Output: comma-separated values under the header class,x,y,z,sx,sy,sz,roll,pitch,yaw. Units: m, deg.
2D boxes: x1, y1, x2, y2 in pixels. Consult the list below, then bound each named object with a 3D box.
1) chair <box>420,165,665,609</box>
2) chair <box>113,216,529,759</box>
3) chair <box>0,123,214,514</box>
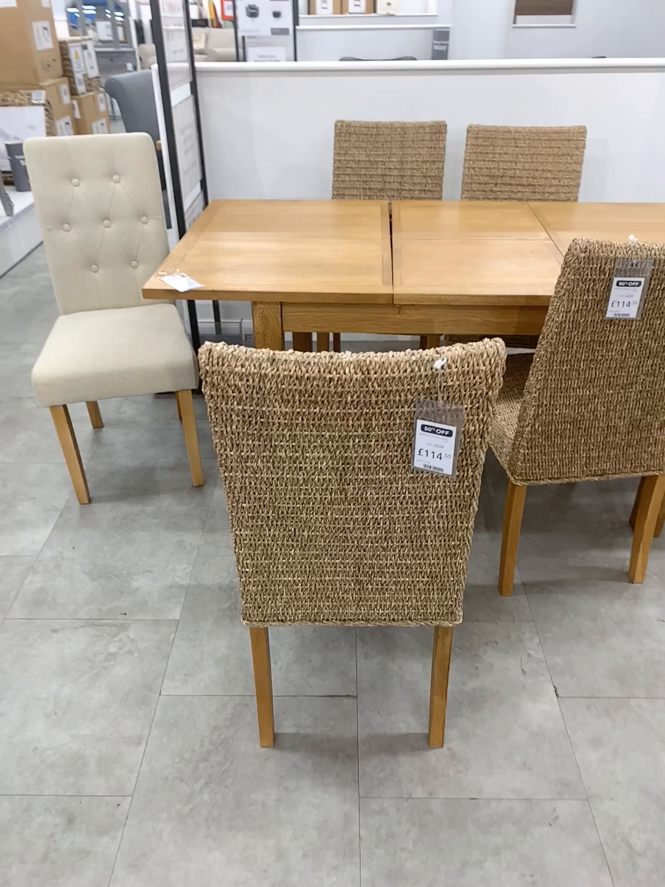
class,x,y,z,sx,sy,sz,roll,pitch,yaw
chair,0.557,-0.144,1.634,0.524,0.870,0.570,-4,33,-5
chair,-0.005,0.075,1.290,0.504,0.840,0.580,1,33,2
chair,-0.592,-0.381,1.909,0.424,0.840,0.731,-5,33,-7
